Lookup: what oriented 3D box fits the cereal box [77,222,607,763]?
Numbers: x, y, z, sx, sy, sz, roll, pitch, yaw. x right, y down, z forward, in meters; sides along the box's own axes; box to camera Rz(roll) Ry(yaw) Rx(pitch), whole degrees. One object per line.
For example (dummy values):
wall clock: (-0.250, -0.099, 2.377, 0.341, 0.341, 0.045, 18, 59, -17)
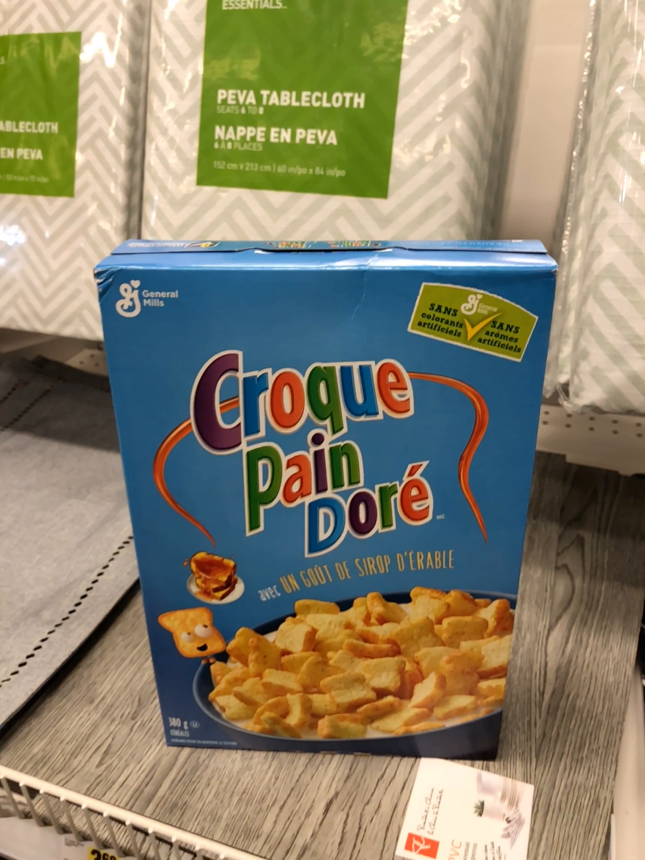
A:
cereal box: (0.009, 0.043, 0.366, 0.210, 0.279, 0.050, 1, 25, 4)
